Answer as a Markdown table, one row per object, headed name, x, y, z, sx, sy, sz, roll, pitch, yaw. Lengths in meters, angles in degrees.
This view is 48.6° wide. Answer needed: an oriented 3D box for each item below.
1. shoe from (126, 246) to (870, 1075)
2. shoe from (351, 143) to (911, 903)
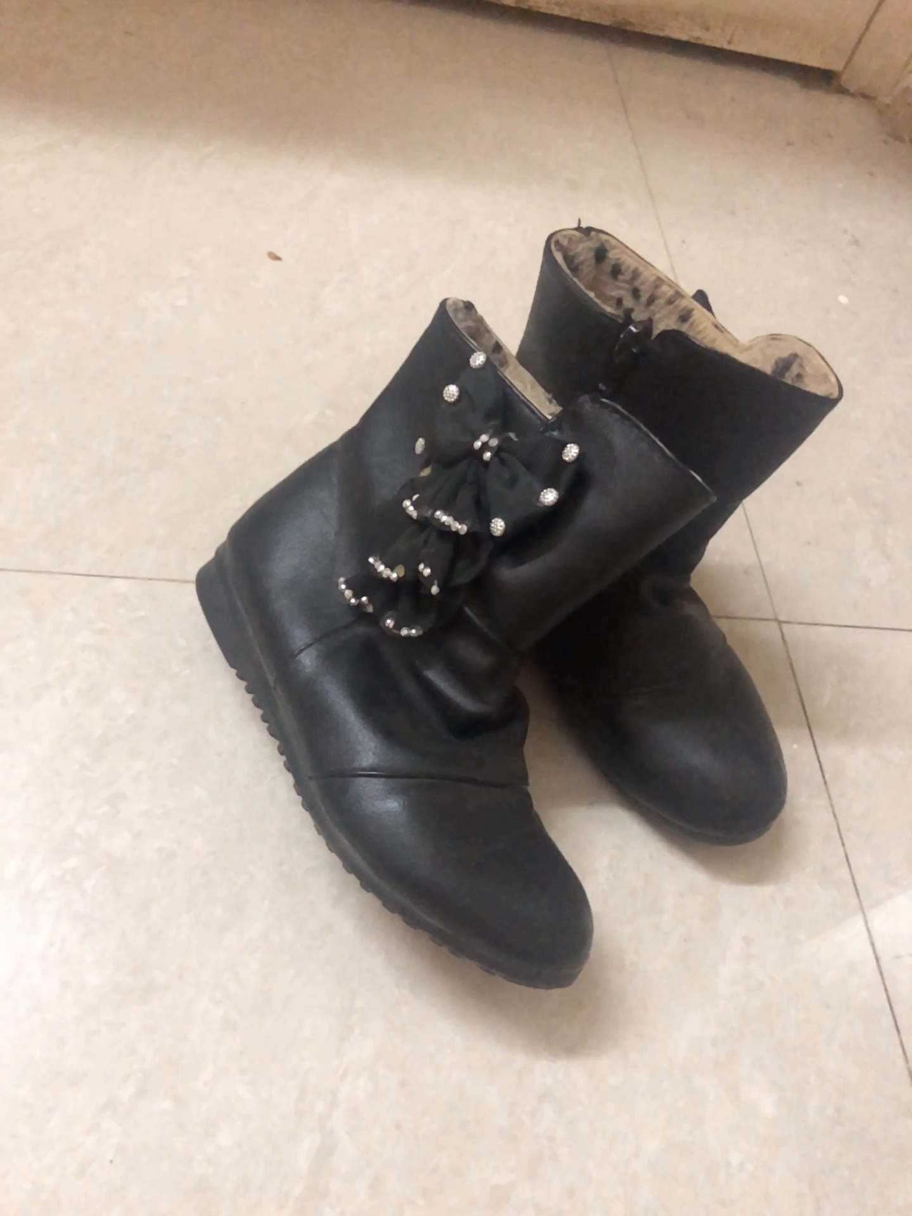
| name | x | y | z | sx | sy | sz | roll | pitch | yaw |
| --- | --- | --- | --- | --- | --- | --- | --- | --- | --- |
| shoe | 0.003 | 0.013 | 0.335 | 0.090 | 0.139 | 0.201 | 5 | 46 | -56 |
| shoe | 0.066 | -0.033 | 0.365 | 0.090 | 0.139 | 0.221 | -24 | 66 | -28 |
